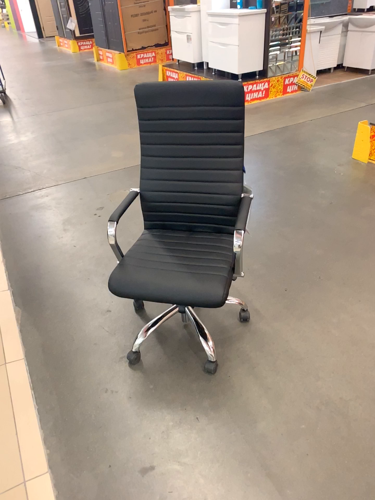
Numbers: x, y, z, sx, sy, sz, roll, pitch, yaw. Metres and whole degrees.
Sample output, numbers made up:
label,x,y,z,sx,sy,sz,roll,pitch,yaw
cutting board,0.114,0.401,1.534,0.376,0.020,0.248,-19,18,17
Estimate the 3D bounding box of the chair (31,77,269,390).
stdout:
label,x,y,z,sx,sy,sz,roll,pitch,yaw
chair,-0.033,-0.084,1.632,0.650,1.074,0.683,5,35,14
